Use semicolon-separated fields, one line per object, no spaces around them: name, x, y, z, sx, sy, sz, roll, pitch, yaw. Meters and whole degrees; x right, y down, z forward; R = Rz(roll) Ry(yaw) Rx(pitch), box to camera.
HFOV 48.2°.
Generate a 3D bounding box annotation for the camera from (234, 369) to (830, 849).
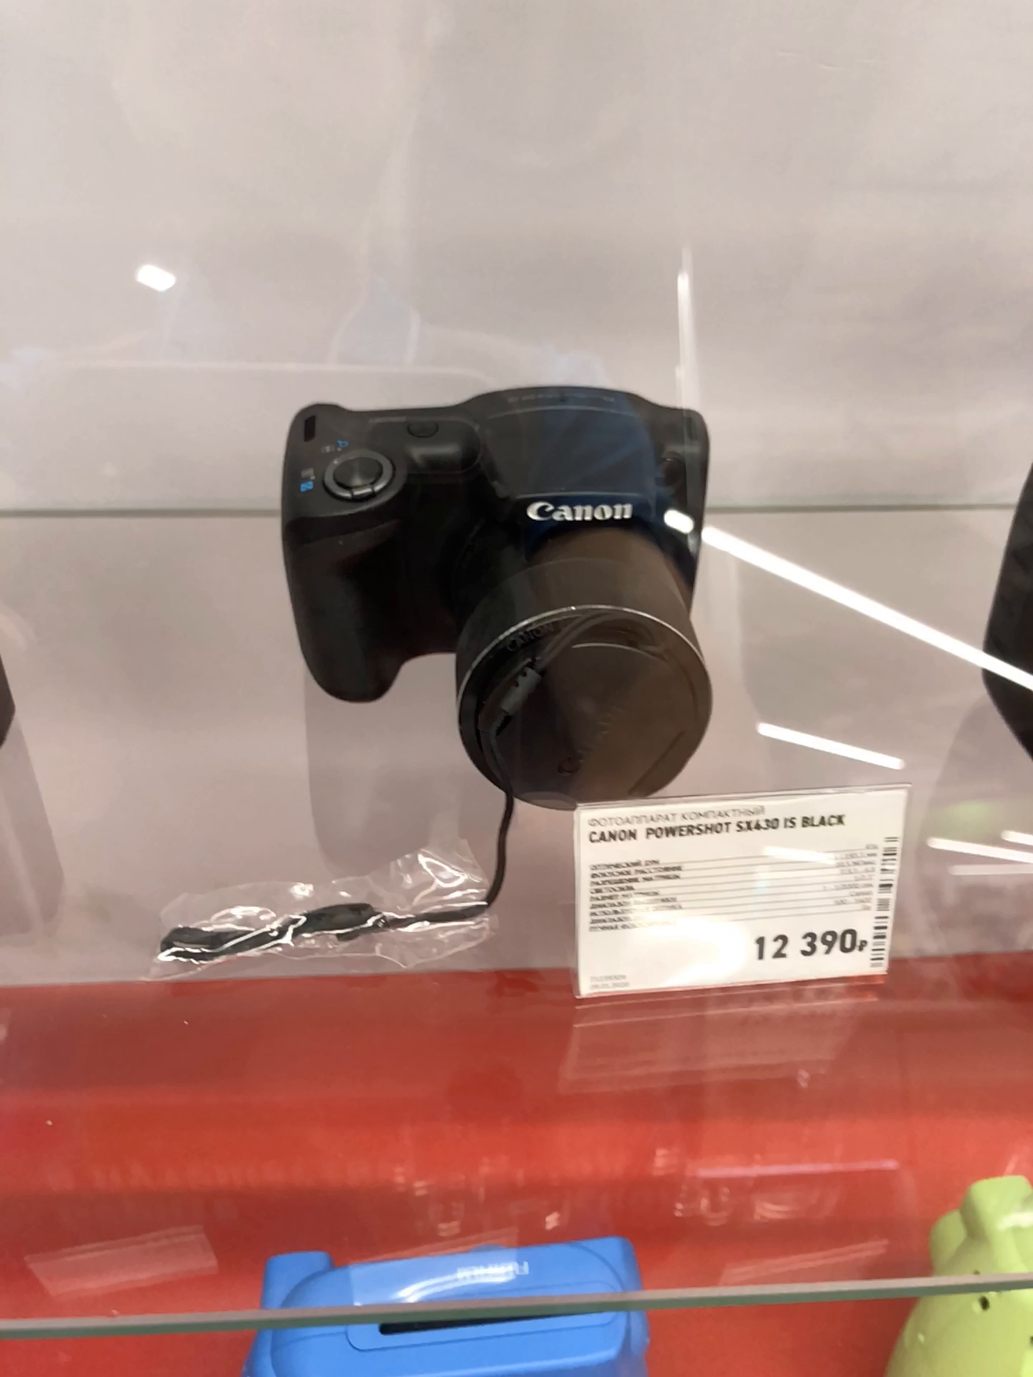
camera;0.001;-0.022;0.276;0.113;0.080;0.086;-1;37;-3
